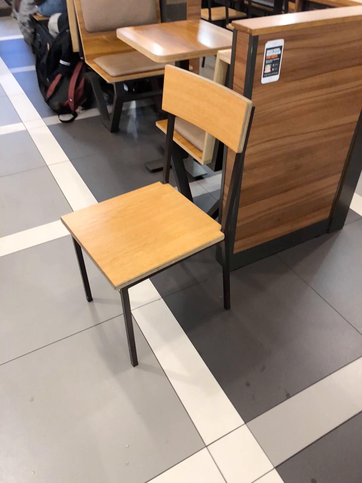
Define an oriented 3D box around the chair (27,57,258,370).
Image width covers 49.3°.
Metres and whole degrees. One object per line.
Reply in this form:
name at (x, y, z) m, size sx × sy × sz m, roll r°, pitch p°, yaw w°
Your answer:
chair at (-0.111, -0.081, 1.328) m, size 0.461 × 0.845 × 0.432 m, roll -26°, pitch 46°, yaw -27°
